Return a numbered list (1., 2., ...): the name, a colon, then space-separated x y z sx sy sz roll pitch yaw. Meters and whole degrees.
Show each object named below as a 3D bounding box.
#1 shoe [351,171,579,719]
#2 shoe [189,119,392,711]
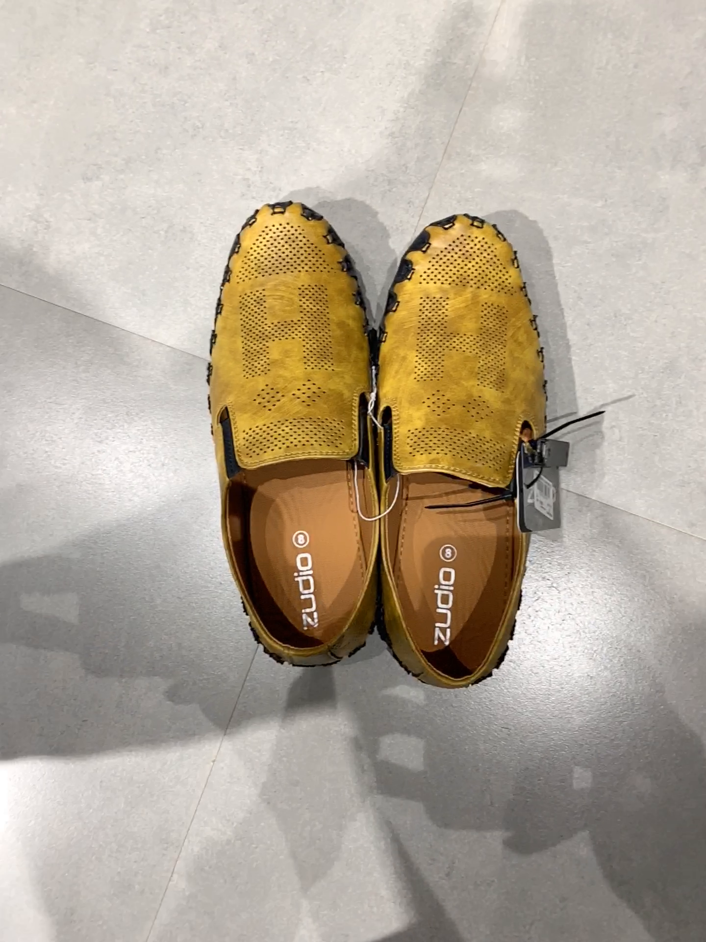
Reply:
1. shoe: 0.064 -0.016 0.425 0.110 0.080 0.290 3 85 4
2. shoe: -0.033 -0.030 0.451 0.100 0.120 0.320 -3 85 3
